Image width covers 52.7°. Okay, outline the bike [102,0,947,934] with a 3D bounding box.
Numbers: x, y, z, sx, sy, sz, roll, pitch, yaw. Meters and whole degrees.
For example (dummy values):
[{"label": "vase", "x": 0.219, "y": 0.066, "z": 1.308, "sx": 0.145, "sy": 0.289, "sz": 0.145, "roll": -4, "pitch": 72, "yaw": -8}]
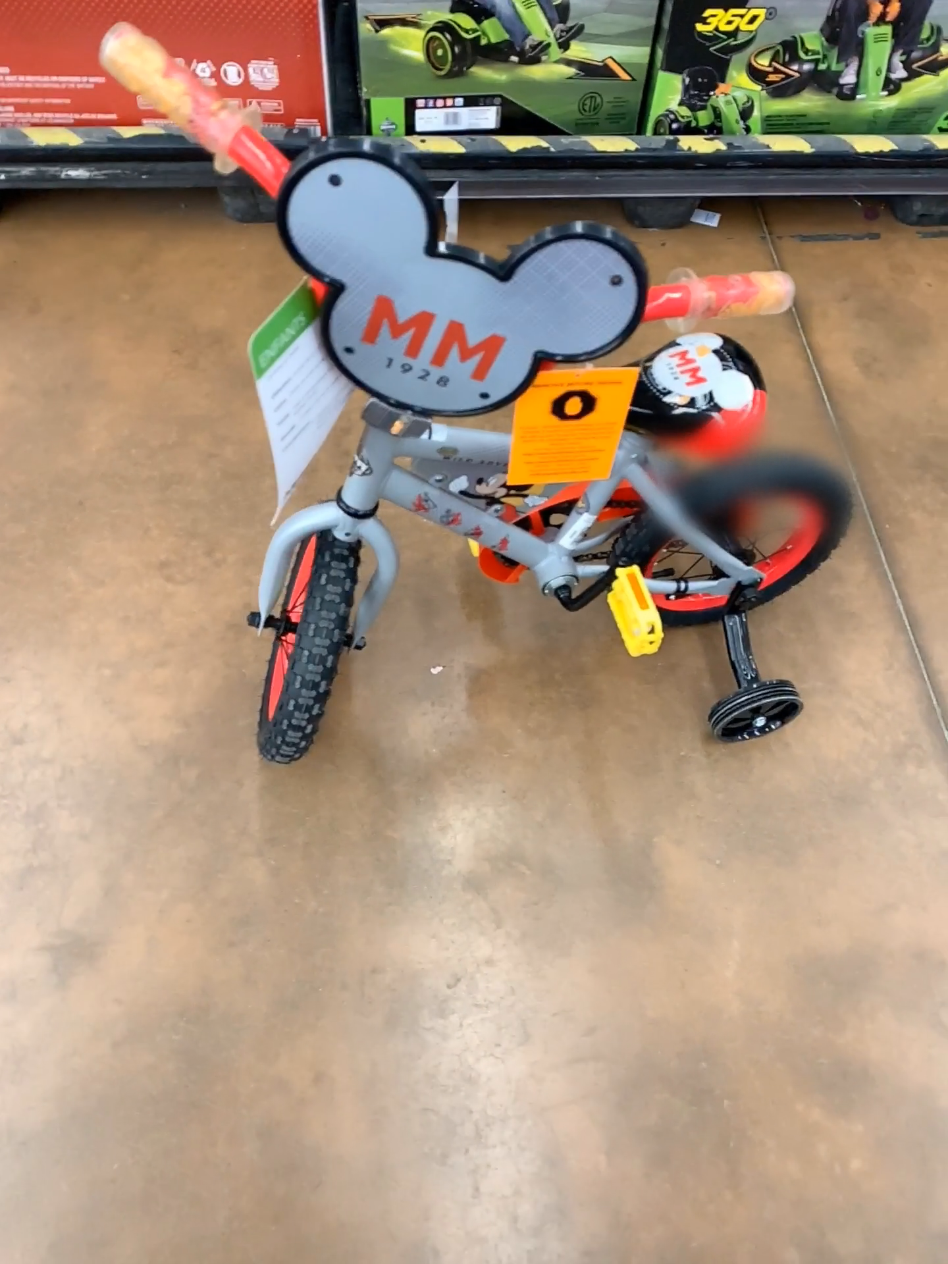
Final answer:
[{"label": "bike", "x": 0.083, "y": -0.153, "z": 0.919, "sx": 0.641, "sy": 0.689, "sz": 0.453, "roll": -18, "pitch": 59, "yaw": -10}]
